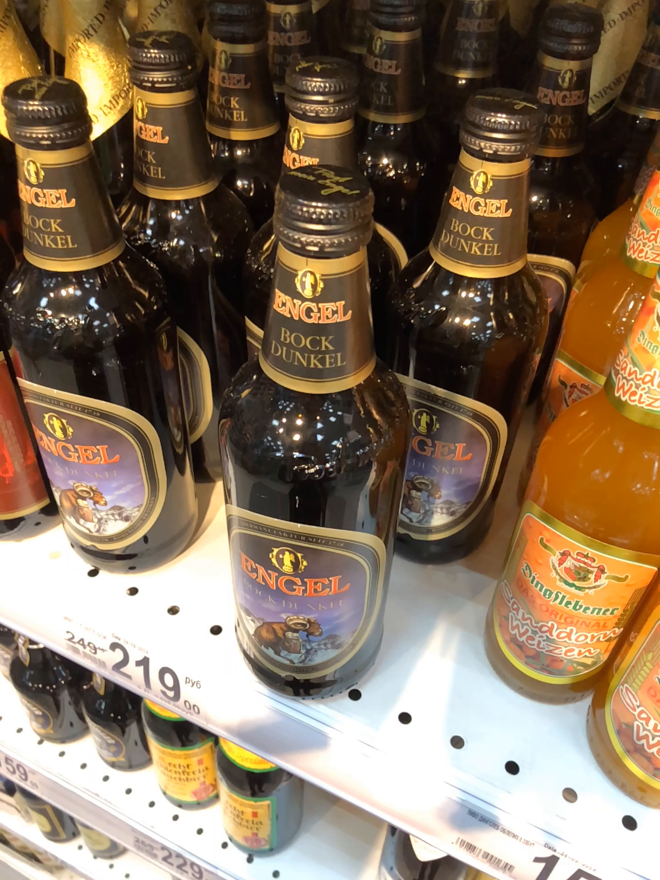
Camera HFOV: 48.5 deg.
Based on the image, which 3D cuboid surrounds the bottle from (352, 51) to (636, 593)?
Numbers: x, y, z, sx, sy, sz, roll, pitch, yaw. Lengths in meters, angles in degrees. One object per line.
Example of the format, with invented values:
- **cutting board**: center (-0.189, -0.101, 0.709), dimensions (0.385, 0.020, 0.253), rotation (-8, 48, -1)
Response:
- **bottle**: center (0.062, -0.037, 0.336), dimensions (0.069, 0.233, 0.070), rotation (1, 43, -1)

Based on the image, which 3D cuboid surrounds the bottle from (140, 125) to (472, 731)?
- **bottle**: center (-0.008, 0.016, 0.272), dimensions (0.070, 0.229, 0.061), rotation (16, 45, 13)

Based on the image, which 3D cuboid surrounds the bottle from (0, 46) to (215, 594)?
- **bottle**: center (-0.105, -0.034, 0.325), dimensions (0.070, 0.233, 0.061), rotation (16, 45, 14)
